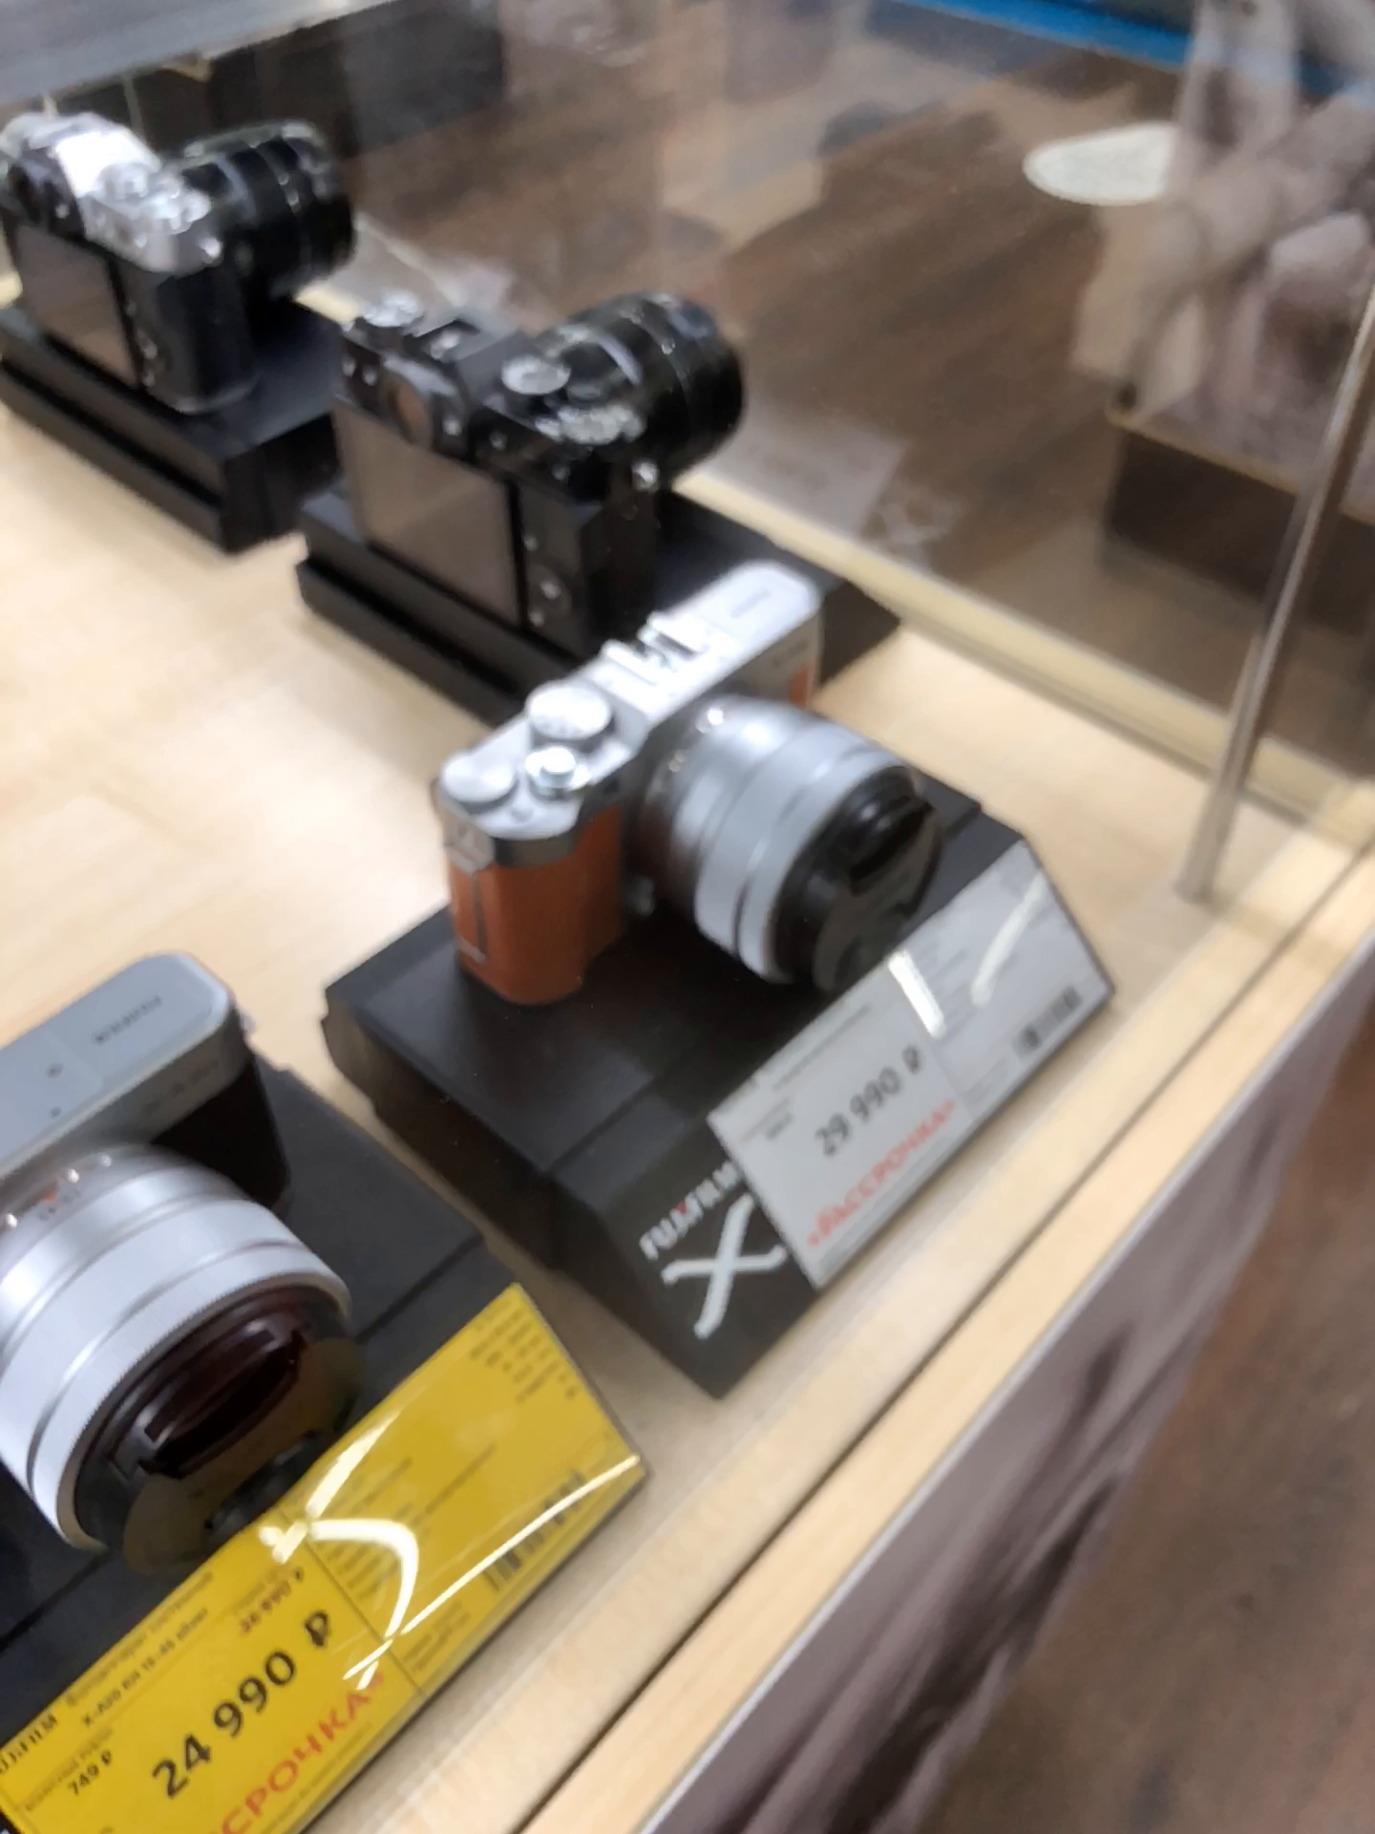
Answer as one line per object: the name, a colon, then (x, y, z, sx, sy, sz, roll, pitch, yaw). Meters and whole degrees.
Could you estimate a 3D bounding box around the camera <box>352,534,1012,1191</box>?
camera: (0.001, -0.019, 0.378, 0.093, 0.075, 0.121, 32, 54, 27)

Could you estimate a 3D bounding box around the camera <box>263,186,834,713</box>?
camera: (-0.042, -0.155, 0.500, 0.131, 0.090, 0.113, 33, 54, 28)

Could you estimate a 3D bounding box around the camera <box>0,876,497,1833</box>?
camera: (-0.114, 0.073, 0.283, 0.093, 0.075, 0.121, 32, 54, 27)
